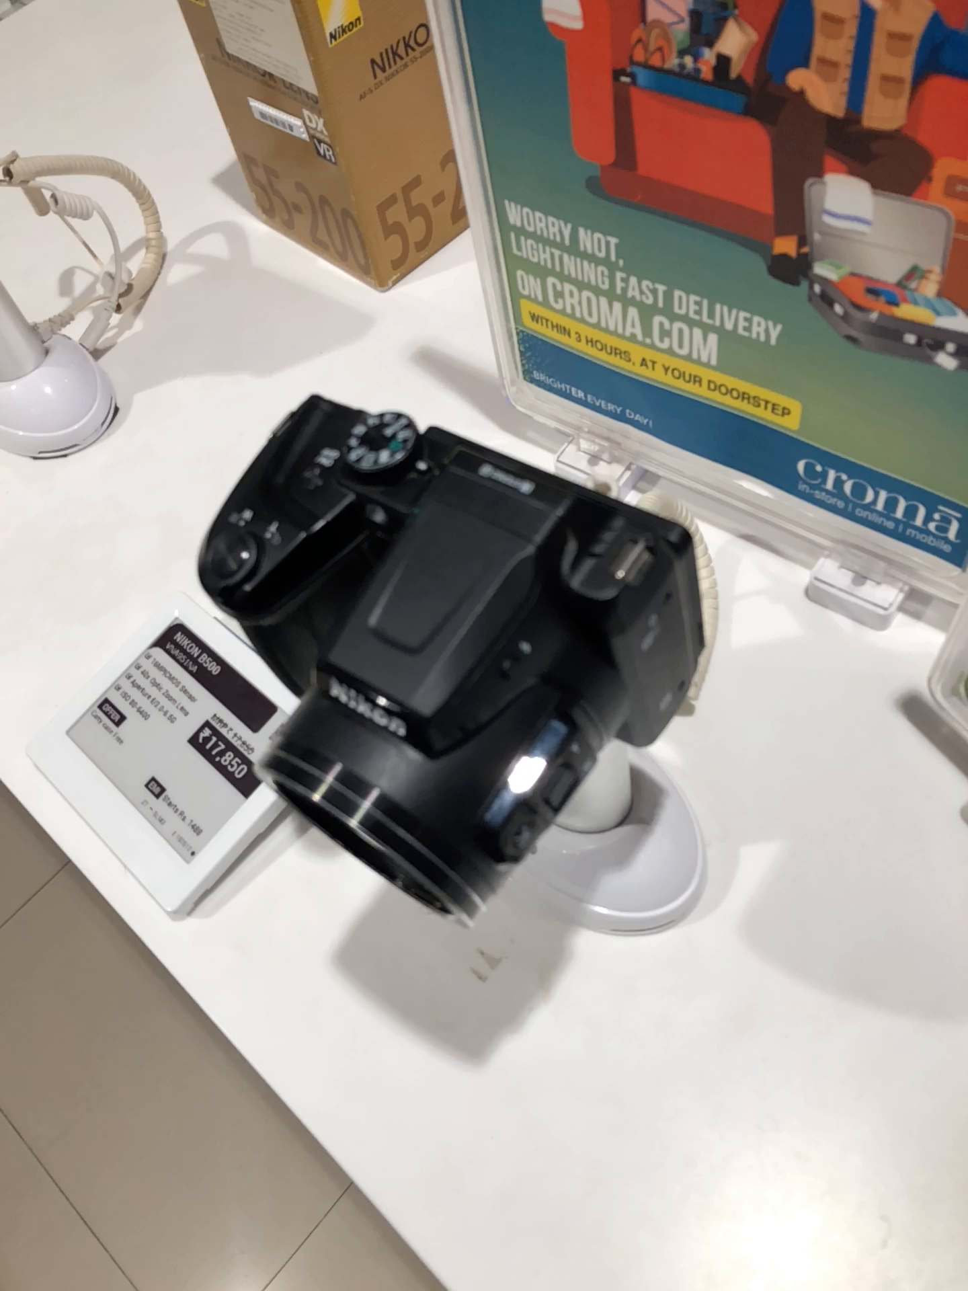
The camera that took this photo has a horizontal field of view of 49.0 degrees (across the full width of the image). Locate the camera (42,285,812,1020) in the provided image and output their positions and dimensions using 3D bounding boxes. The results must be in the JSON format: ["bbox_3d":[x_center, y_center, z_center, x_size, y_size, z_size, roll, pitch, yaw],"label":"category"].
[{"bbox_3d":[-0.006,-0.004,0.237,0.110,0.070,0.110,26,66,24],"label":"camera"}]
